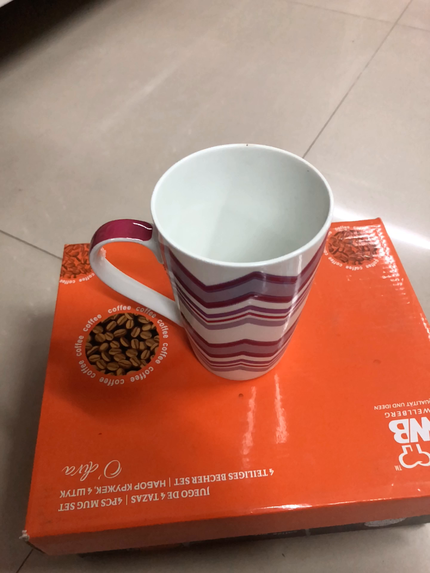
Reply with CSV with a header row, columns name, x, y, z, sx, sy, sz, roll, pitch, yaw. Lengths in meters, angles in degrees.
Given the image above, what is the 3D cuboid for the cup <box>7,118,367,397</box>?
name,x,y,z,sx,sy,sz,roll,pitch,yaw
cup,-0.009,-0.010,0.244,0.130,0.109,0.091,-1,53,1
